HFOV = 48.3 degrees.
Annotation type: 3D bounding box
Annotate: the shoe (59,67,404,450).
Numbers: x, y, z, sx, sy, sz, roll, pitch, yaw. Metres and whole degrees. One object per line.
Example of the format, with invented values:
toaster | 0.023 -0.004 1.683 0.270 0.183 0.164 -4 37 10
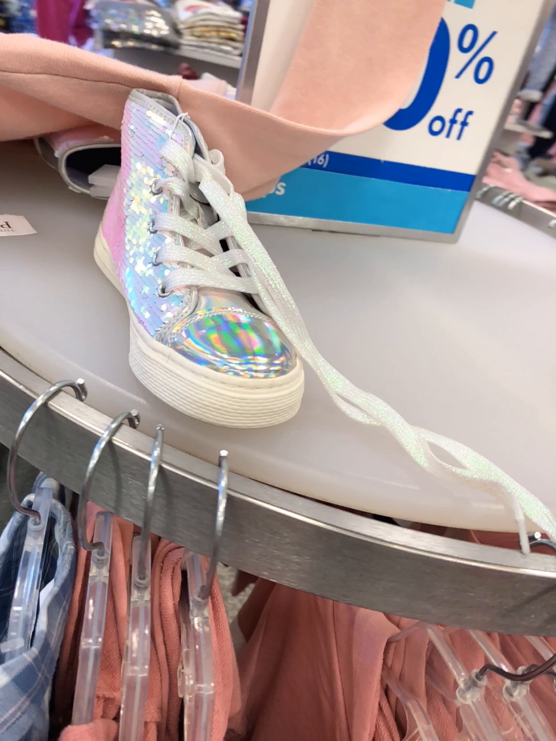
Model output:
shoe | -0.047 -0.073 0.327 0.090 0.105 0.212 -3 36 -29
